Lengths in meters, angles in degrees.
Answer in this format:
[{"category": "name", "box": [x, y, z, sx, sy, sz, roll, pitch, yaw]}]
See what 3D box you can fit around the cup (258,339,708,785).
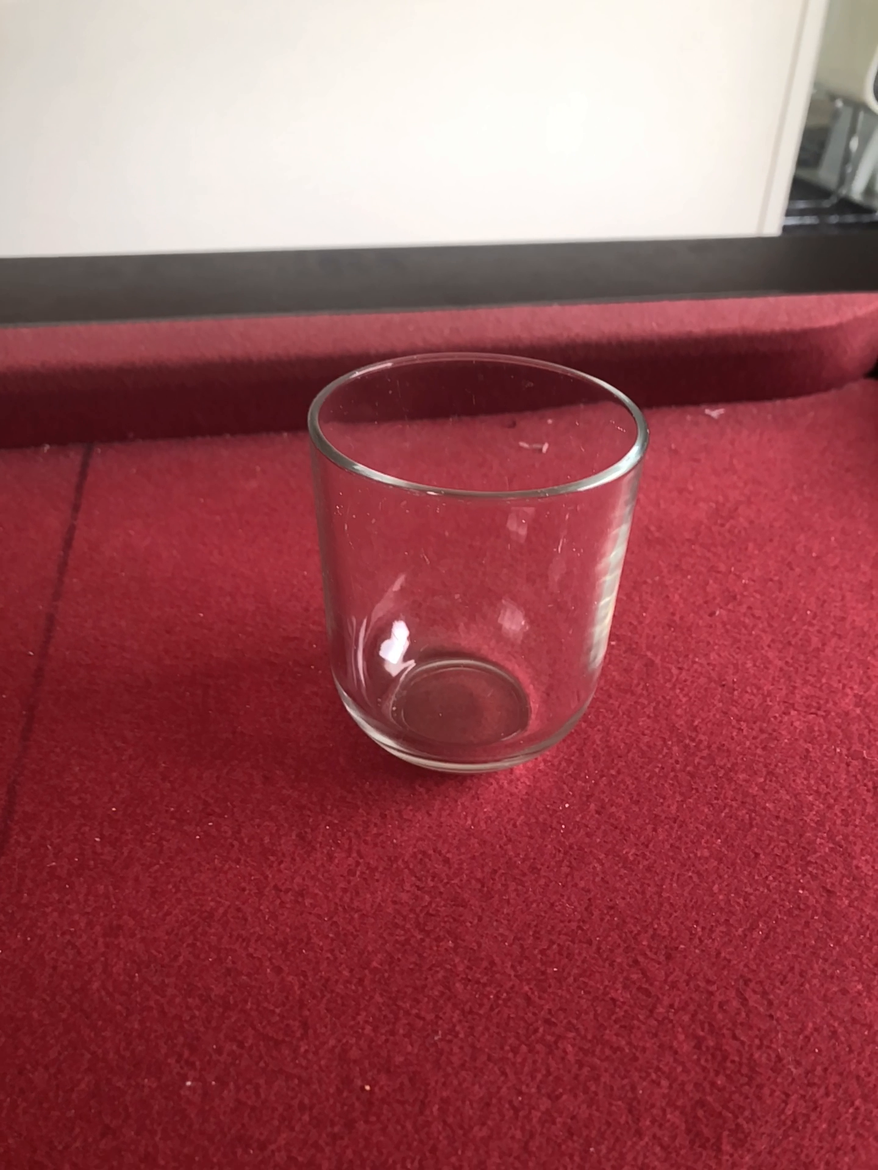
[{"category": "cup", "box": [0.006, -0.009, 0.226, 0.080, 0.070, 0.080, 1, 34, -1]}]
